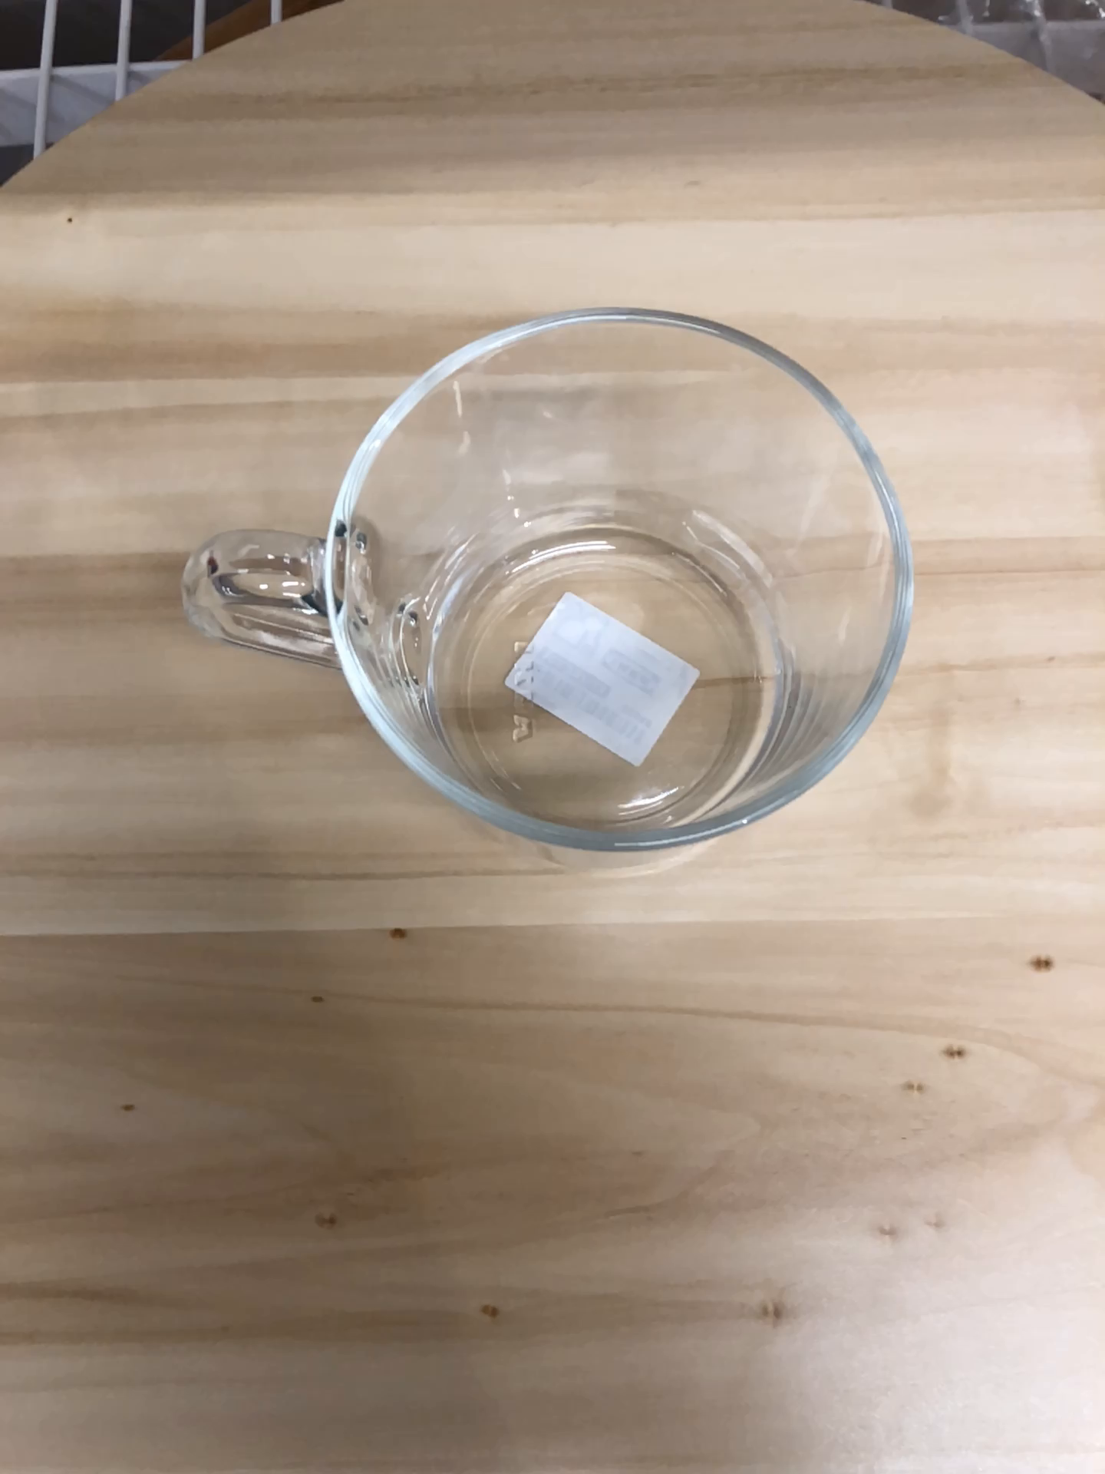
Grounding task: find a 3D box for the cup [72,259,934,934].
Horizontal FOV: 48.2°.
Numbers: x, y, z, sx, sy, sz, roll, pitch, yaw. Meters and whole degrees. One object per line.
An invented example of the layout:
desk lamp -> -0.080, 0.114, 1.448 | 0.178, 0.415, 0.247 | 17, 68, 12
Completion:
cup -> -0.004, -0.020, 0.214 | 0.120, 0.060, 0.090 | 5, 74, 2
